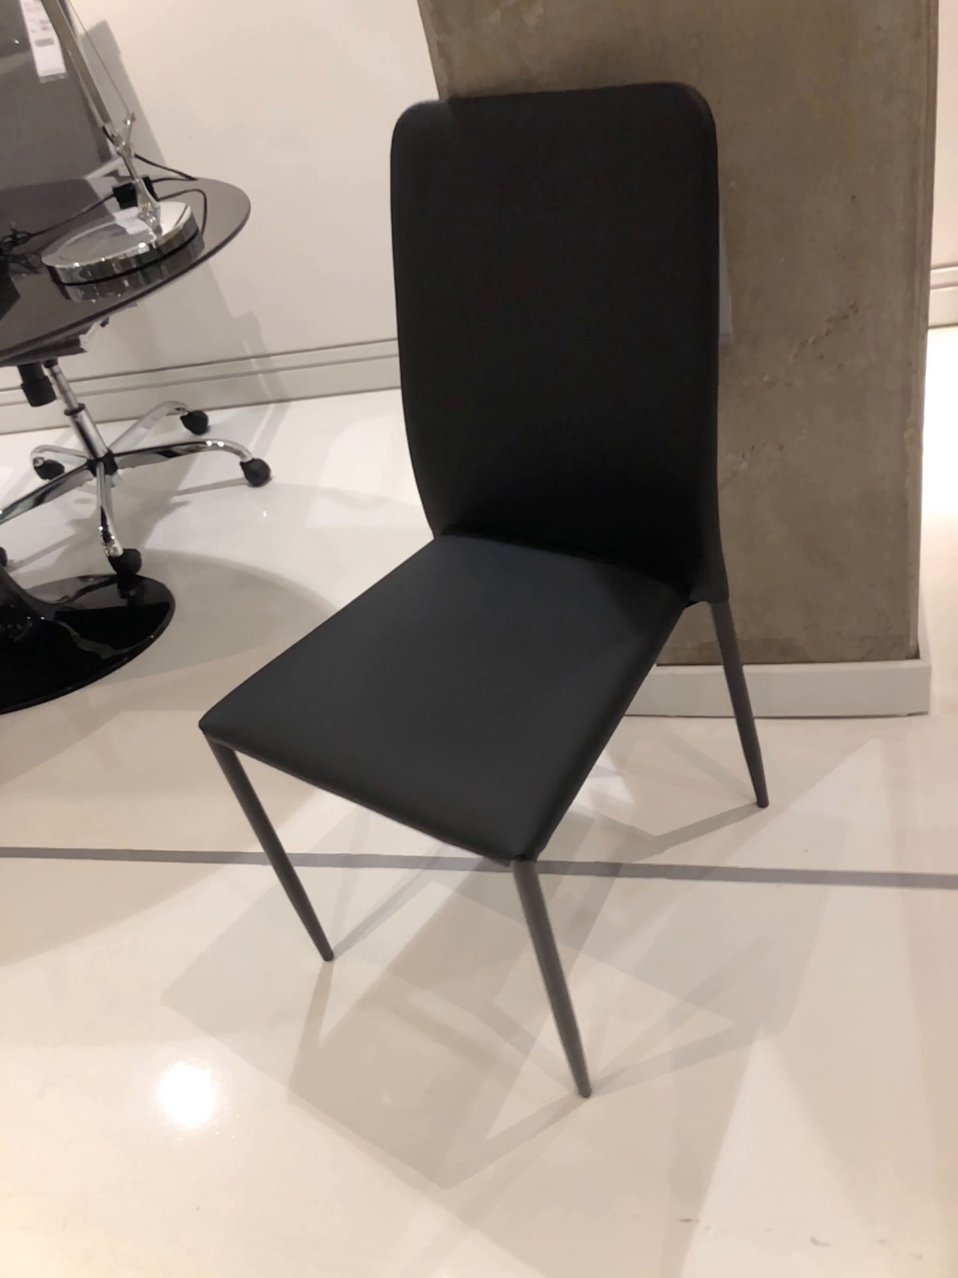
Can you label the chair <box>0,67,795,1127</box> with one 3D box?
[{"bbox_3d":[-0.014,-0.034,1.140,0.472,0.883,0.542,17,49,35],"label":"chair"}]
